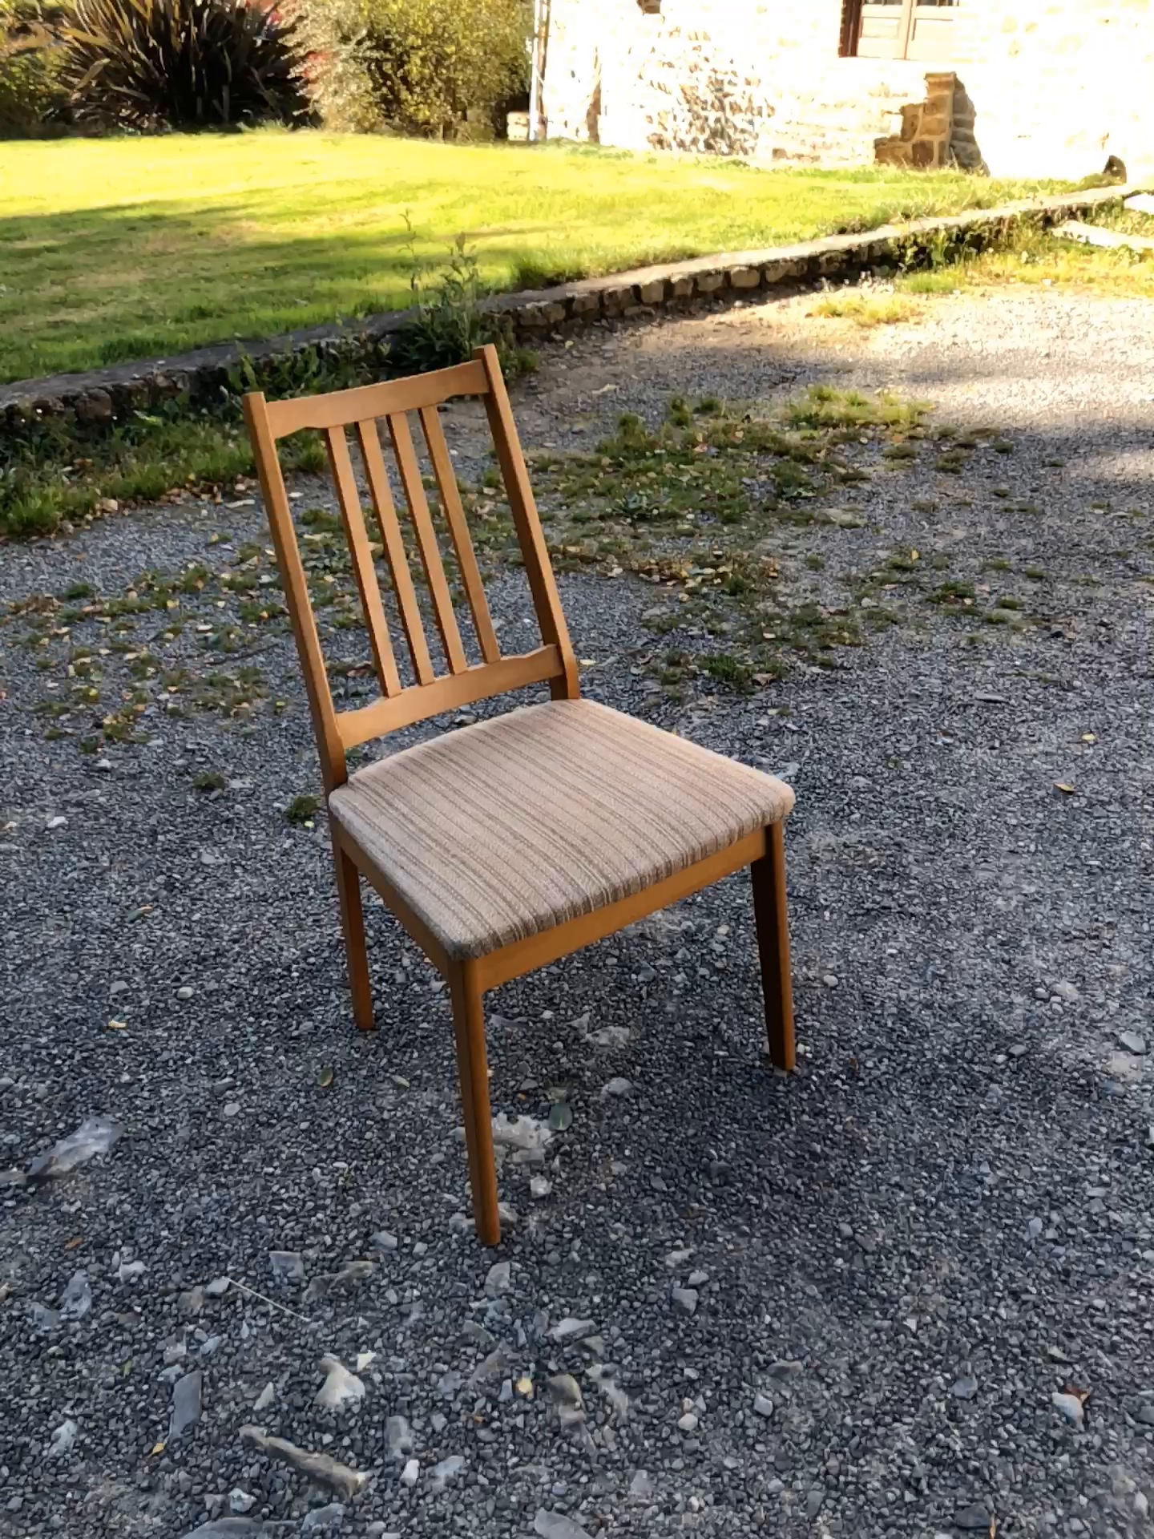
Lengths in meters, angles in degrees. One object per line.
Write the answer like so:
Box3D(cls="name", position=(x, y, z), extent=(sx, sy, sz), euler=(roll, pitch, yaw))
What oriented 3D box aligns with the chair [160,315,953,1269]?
Box3D(cls="chair", position=(-0.036, -0.024, 1.538), extent=(0.602, 0.845, 0.591), euler=(-21, 37, -30))
